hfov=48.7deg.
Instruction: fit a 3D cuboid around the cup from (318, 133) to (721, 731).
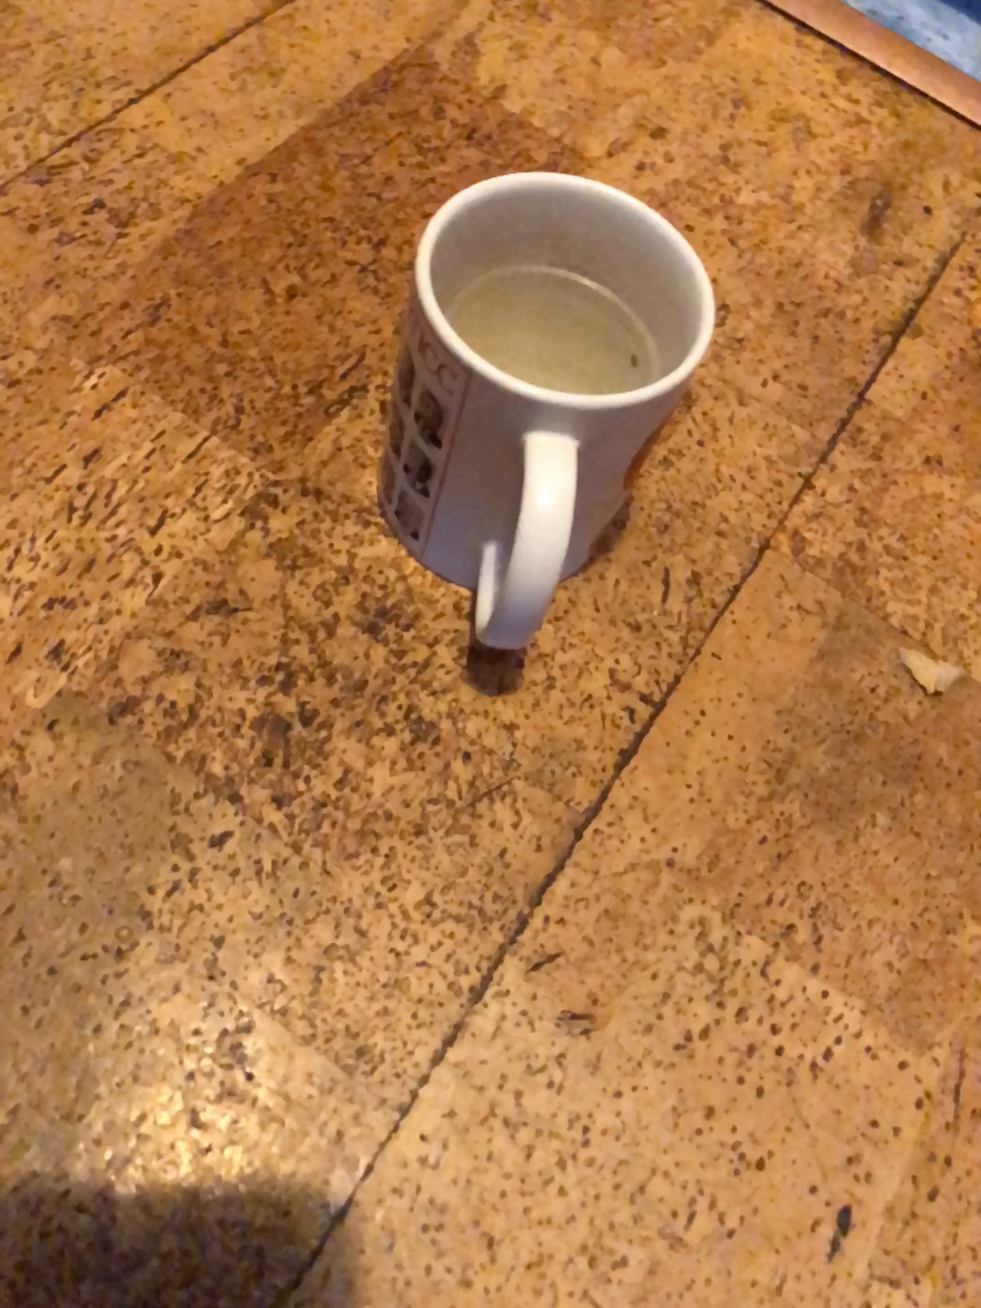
[{"bbox_3d":[0.006,-0.059,0.314,0.082,0.100,0.120,12,62,-6],"label":"cup"}]
